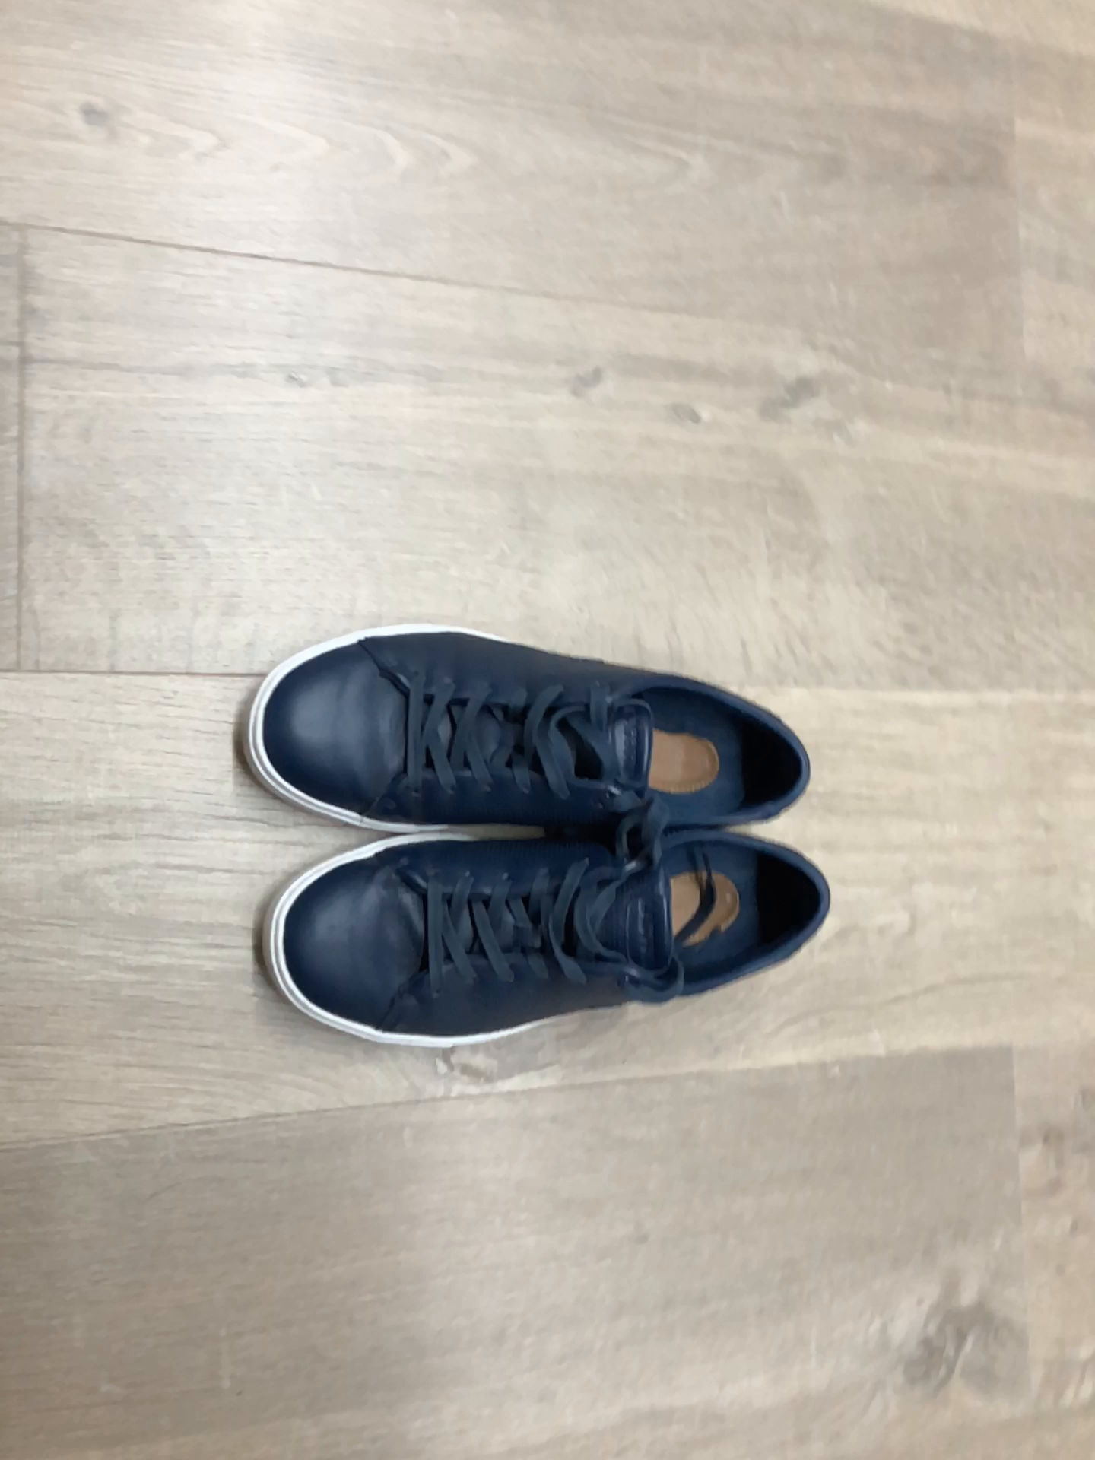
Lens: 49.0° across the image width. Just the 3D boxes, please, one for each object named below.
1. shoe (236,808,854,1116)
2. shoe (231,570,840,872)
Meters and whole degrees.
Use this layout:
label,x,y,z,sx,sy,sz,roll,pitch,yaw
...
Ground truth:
label,x,y,z,sx,sy,sz,roll,pitch,yaw
shoe,-0.001,0.089,0.512,0.247,0.080,0.100,-1,86,-20
shoe,-0.003,0.004,0.524,0.247,0.080,0.100,6,84,-19
